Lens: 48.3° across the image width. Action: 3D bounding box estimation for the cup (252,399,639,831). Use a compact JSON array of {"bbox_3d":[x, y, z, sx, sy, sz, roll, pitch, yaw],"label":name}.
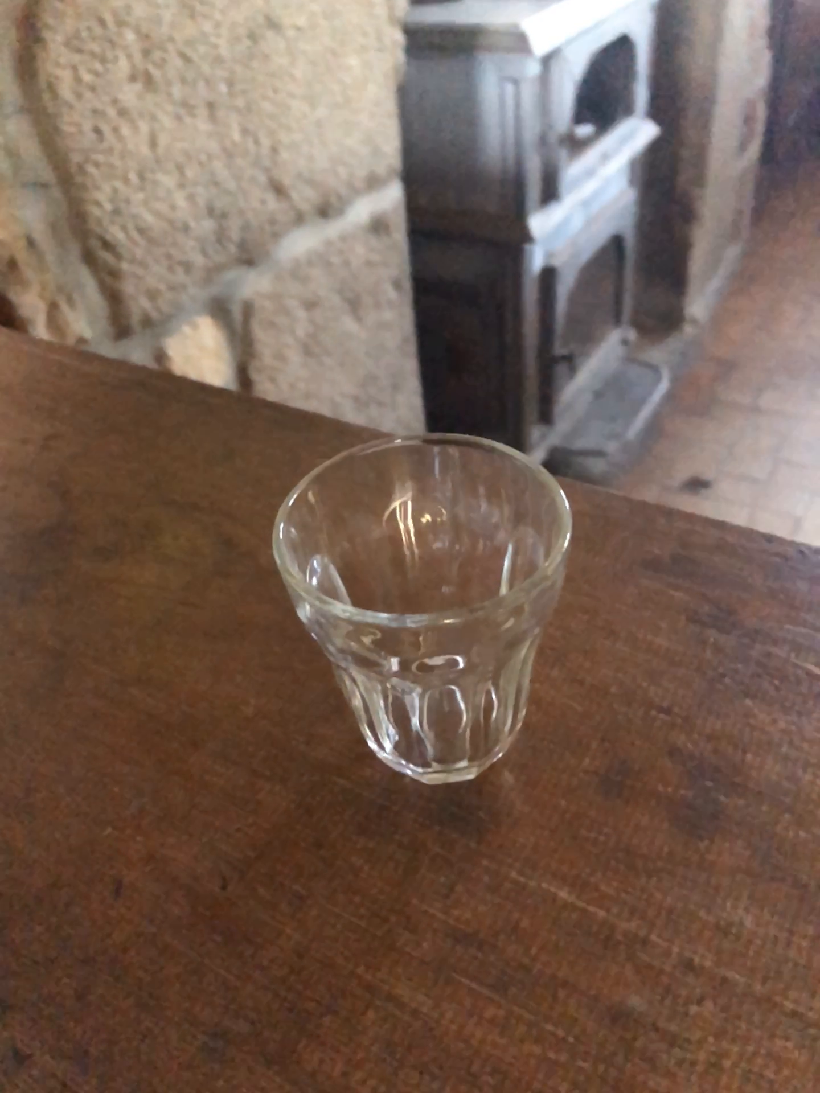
[{"bbox_3d":[0.009,0.018,0.241,0.080,0.080,0.070,-6,39,1],"label":"cup"}]
